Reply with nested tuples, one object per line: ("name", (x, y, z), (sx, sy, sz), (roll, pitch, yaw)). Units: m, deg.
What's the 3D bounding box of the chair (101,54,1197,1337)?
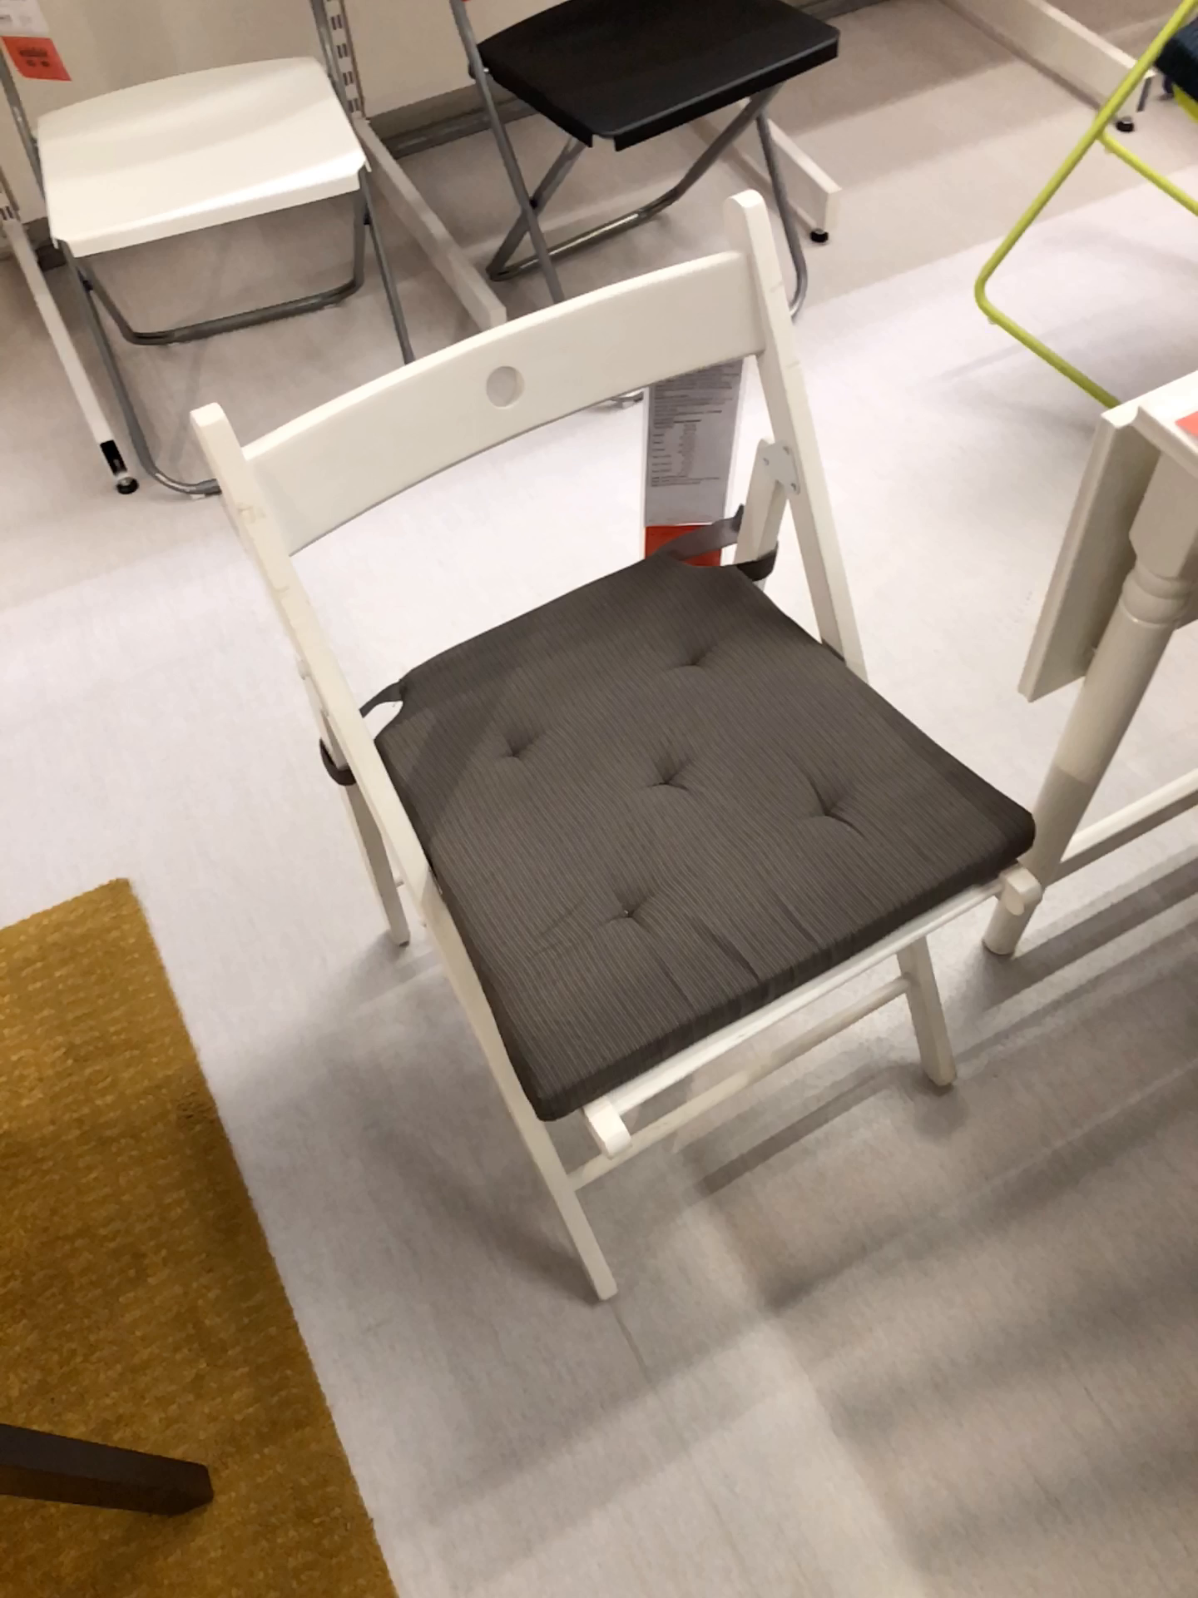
("chair", (0.051, -0.014, 0.939), (0.440, 0.697, 0.452), (-27, 59, -14))
